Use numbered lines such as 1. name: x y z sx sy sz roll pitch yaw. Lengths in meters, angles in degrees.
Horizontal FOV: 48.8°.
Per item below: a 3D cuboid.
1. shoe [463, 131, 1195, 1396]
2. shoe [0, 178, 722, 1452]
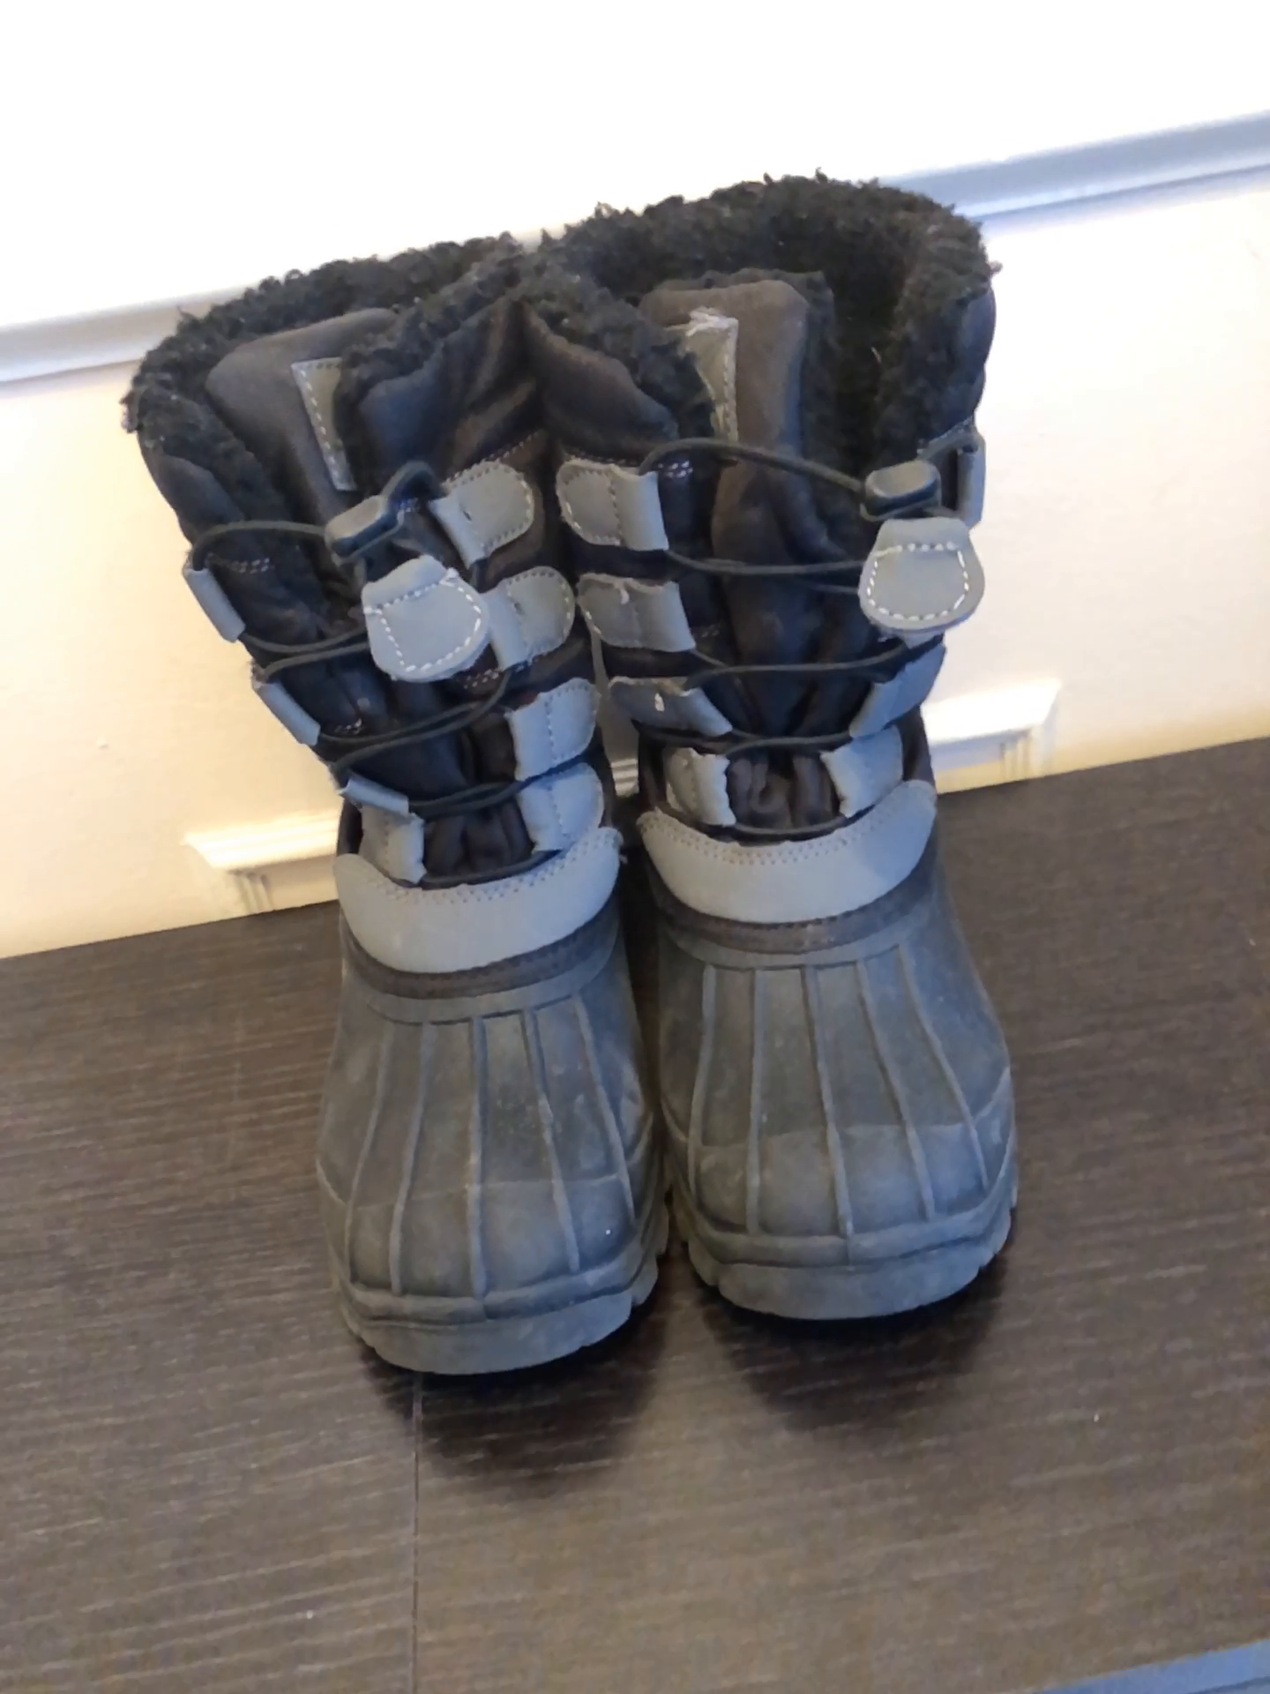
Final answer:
1. shoe: 0.032 -0.034 0.339 0.100 0.209 0.222 -9 35 1
2. shoe: -0.052 -0.022 0.339 0.100 0.209 0.222 -9 35 1
